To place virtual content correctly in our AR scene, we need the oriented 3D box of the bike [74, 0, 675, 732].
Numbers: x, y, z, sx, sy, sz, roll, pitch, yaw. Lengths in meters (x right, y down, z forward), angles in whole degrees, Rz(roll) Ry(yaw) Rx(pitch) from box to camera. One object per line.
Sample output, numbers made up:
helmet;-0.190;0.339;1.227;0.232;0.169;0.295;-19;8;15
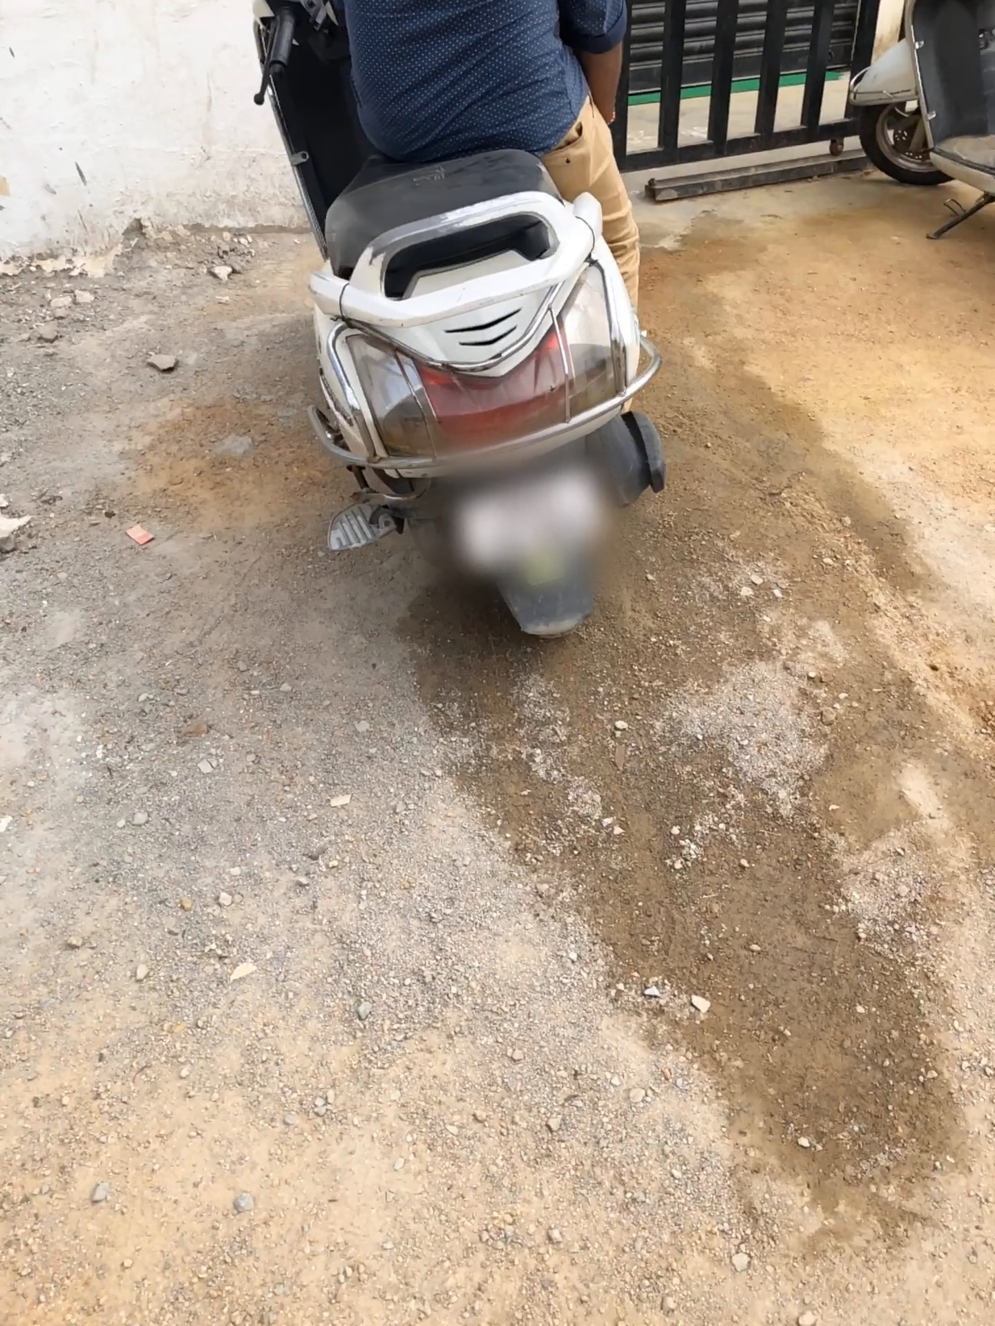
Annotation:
bike;-0.311;-0.953;2.070;0.600;1.230;1.562;-11;42;-12
